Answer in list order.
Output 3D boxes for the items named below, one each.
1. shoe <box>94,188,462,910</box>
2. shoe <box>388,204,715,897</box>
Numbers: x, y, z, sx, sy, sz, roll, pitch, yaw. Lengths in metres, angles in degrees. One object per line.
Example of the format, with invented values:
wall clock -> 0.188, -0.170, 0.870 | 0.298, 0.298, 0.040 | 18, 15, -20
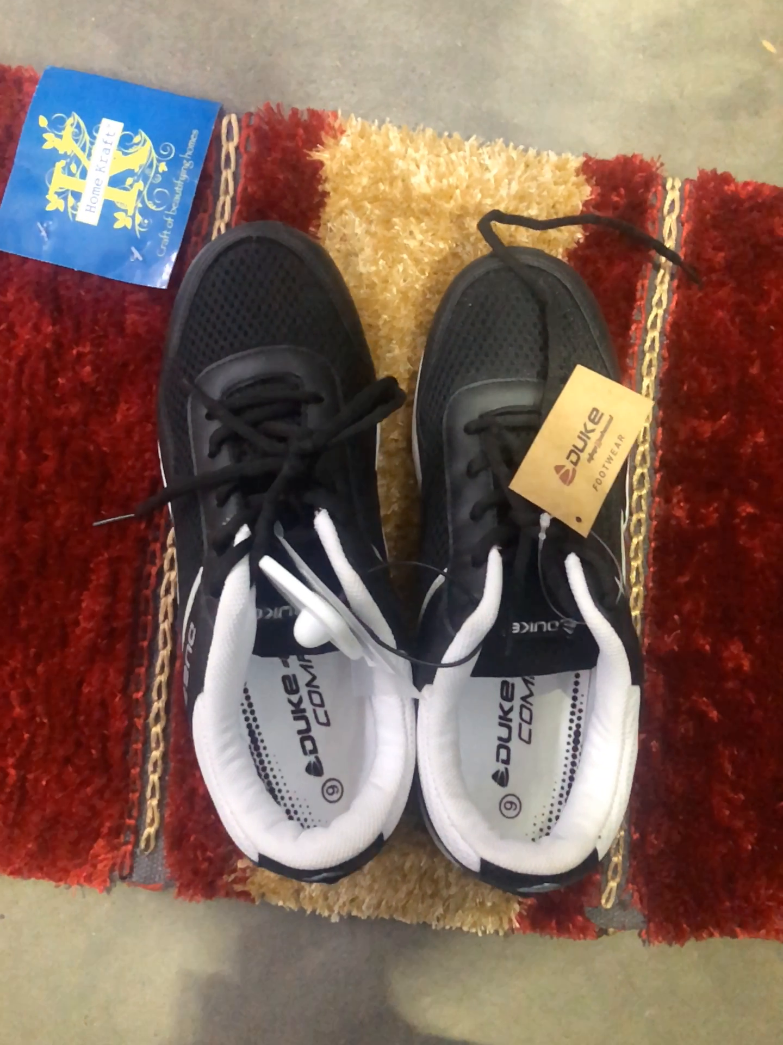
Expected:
shoe -> -0.043, 0.007, 0.335 | 0.100, 0.070, 0.240 | -7, 86, -5
shoe -> 0.061, 0.010, 0.354 | 0.110, 0.070, 0.250 | 3, 85, -4
